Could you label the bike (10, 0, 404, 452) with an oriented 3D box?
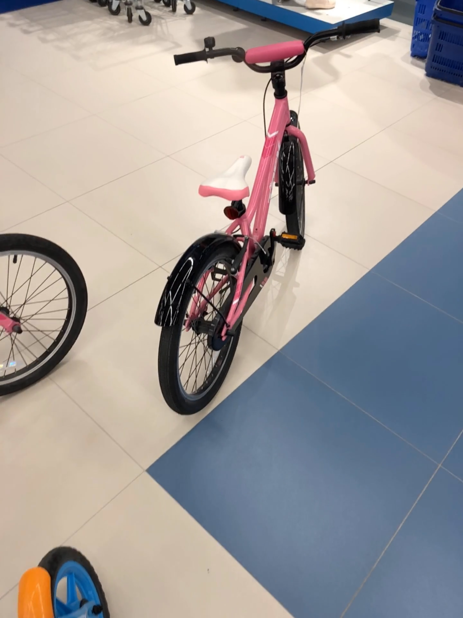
[{"bbox_3d":[0.049,-0.444,1.555,0.556,0.834,1.303,16,49,11],"label":"bike"}]
